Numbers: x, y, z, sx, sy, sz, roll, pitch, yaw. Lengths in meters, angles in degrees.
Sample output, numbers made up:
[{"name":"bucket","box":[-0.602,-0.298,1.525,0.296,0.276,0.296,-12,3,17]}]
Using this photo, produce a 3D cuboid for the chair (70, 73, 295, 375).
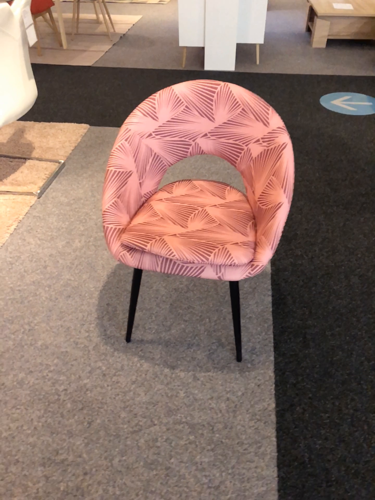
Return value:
[{"name":"chair","box":[0.038,-0.098,1.439,0.530,0.795,0.604,8,41,10]}]
